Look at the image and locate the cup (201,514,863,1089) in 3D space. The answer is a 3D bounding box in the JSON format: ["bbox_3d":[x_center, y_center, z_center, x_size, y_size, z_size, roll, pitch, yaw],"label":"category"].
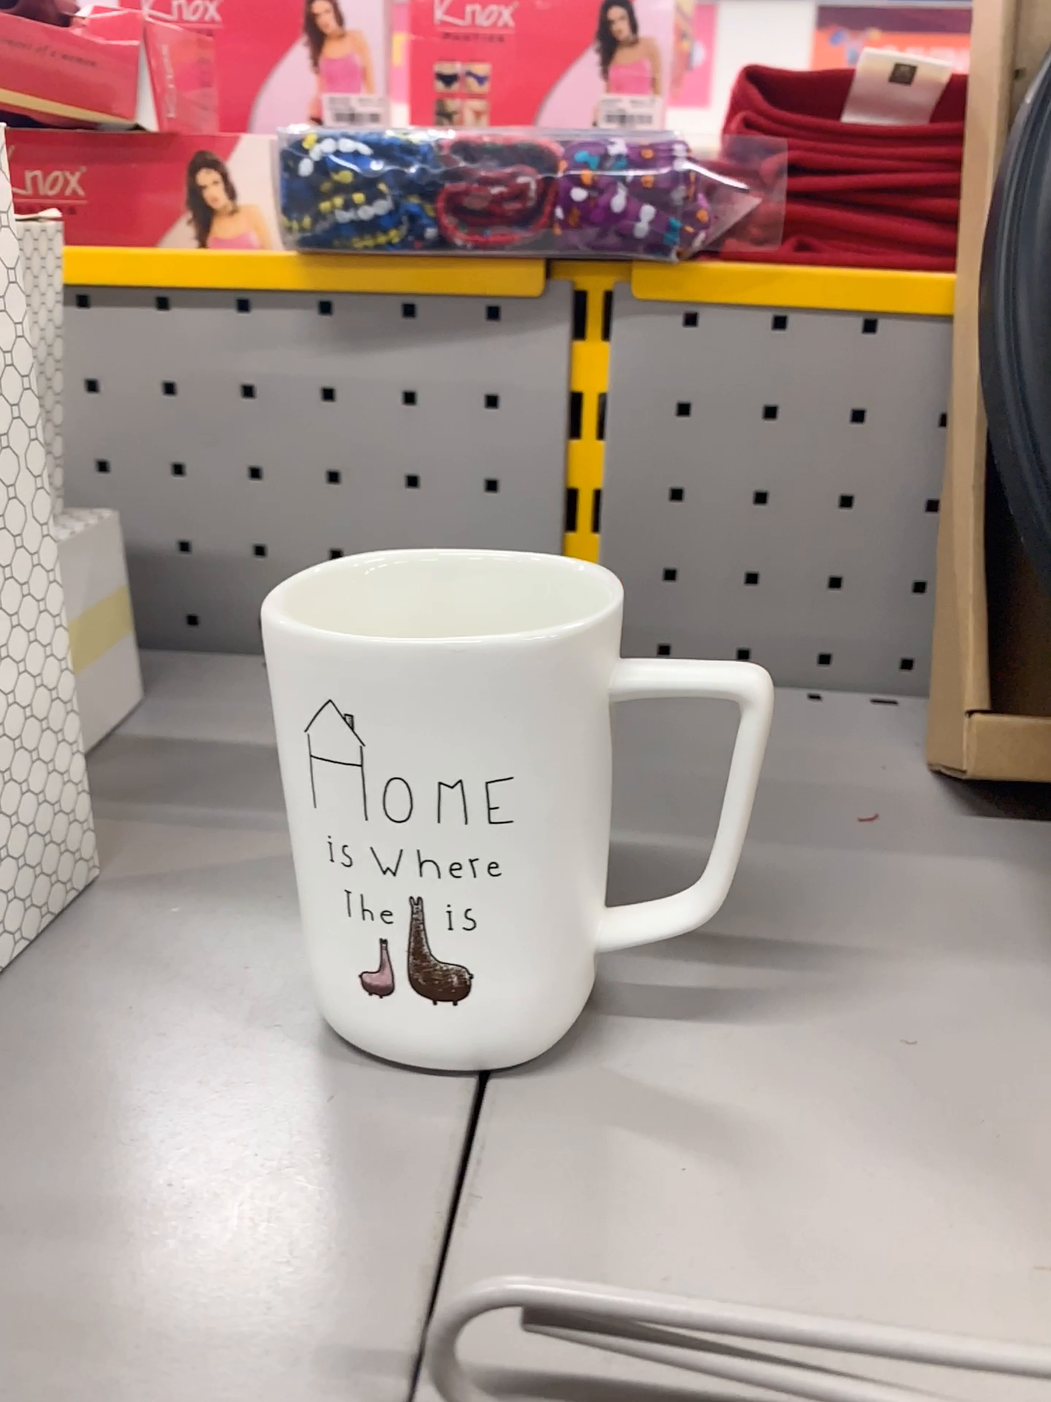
[{"bbox_3d":[0.002,0.018,0.247,0.120,0.100,0.070,4,22,5],"label":"cup"}]
